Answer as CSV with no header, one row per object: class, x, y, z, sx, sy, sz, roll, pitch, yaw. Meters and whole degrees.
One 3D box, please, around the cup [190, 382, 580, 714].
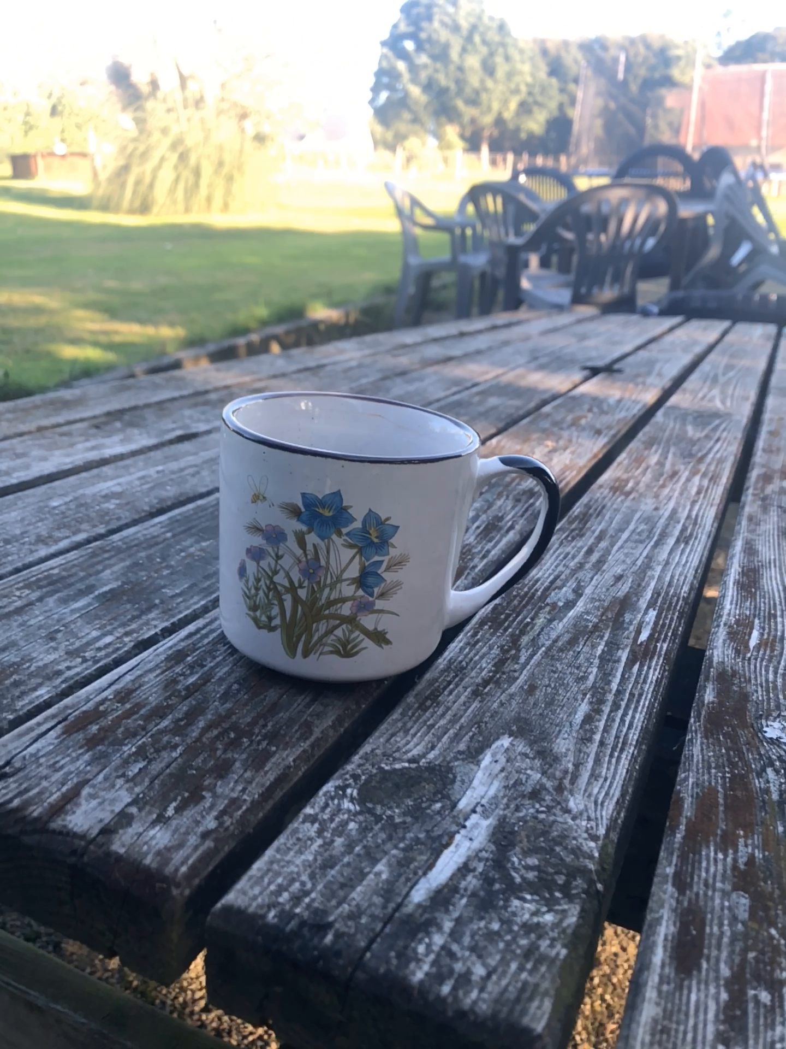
cup,-0.003,0.002,0.295,0.108,0.078,0.087,5,18,1
